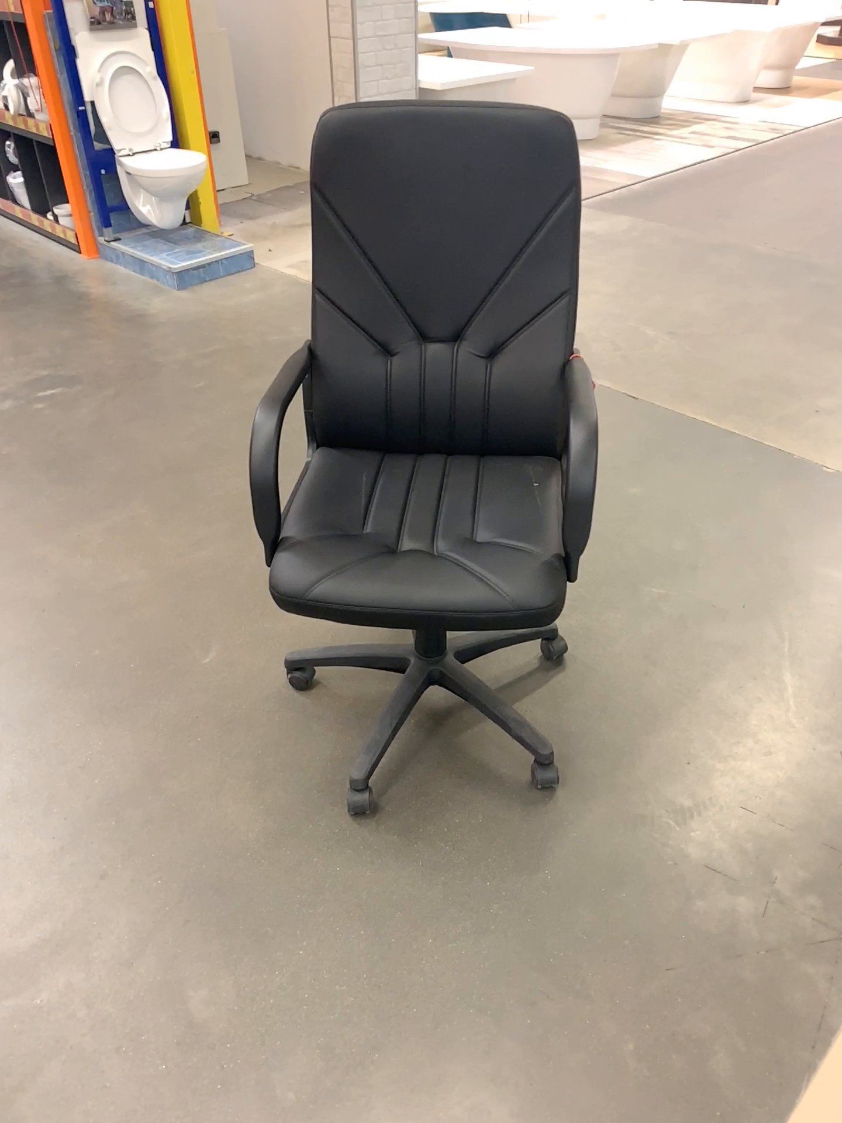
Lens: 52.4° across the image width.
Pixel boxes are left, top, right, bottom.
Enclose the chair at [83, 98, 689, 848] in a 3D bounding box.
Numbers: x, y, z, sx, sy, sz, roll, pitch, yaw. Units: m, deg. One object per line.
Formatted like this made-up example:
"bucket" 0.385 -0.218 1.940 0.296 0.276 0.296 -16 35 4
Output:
"chair" 0.001 -0.182 1.582 0.670 1.084 0.814 3 36 6
